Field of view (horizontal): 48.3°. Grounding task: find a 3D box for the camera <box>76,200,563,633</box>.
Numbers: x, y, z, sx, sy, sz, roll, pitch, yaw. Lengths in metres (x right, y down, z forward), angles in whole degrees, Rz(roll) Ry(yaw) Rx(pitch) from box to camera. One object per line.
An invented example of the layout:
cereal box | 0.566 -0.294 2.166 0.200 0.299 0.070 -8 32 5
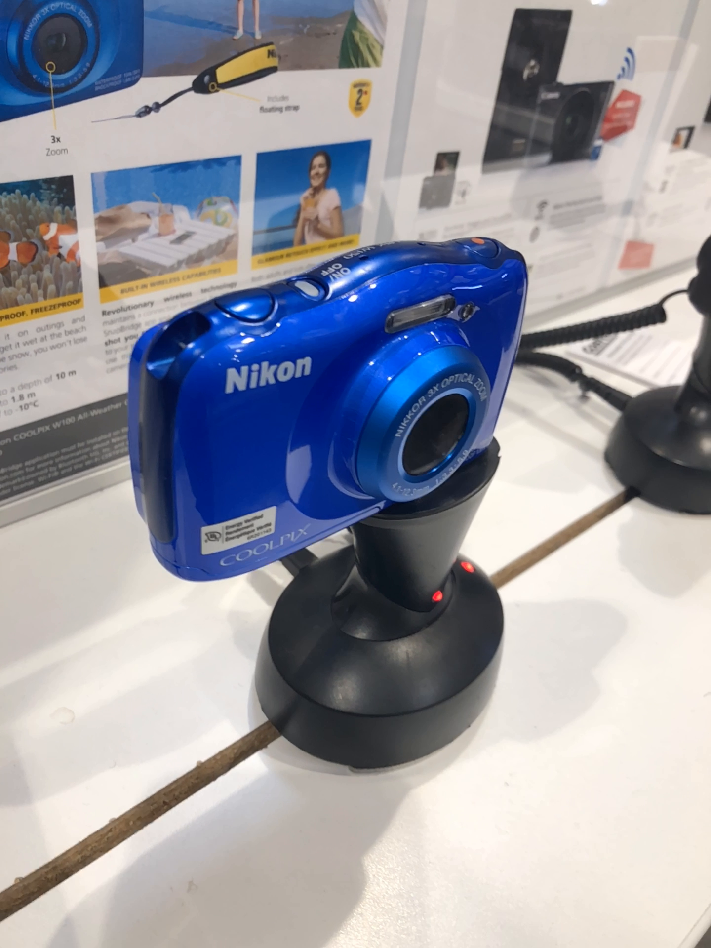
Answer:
camera | -0.005 -0.020 0.181 0.100 0.060 0.040 -26 49 -38
